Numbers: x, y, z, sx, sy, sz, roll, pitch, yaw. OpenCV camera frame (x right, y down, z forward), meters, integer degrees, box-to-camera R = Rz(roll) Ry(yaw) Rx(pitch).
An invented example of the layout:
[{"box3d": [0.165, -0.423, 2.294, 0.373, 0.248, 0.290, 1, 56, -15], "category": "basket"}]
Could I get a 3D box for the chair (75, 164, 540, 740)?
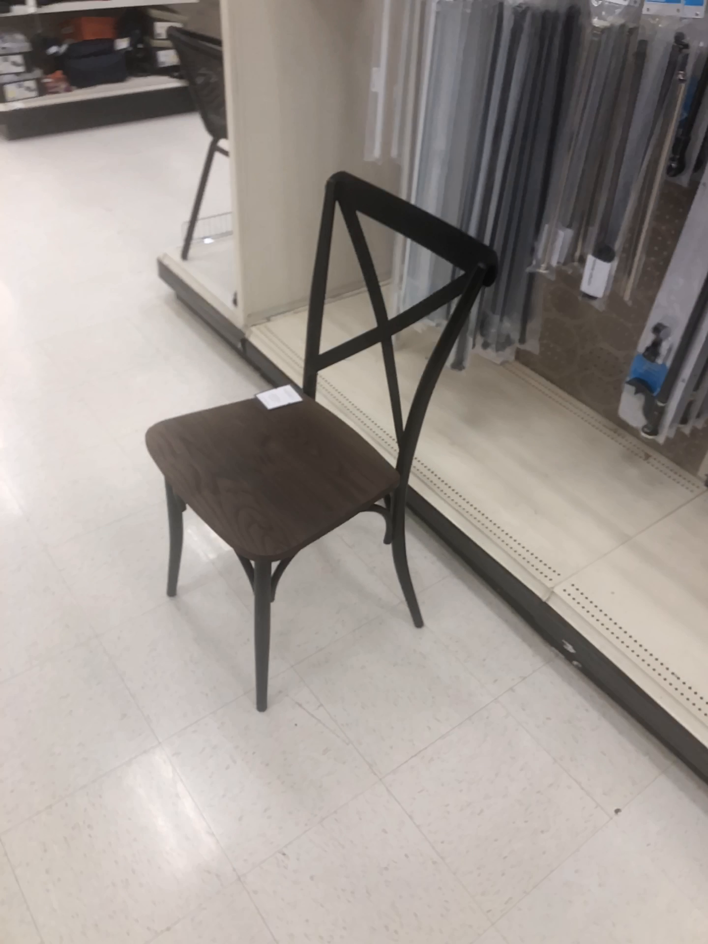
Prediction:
[{"box3d": [-0.093, -0.039, 1.449, 0.526, 0.811, 0.477, -25, 48, -29], "category": "chair"}]
